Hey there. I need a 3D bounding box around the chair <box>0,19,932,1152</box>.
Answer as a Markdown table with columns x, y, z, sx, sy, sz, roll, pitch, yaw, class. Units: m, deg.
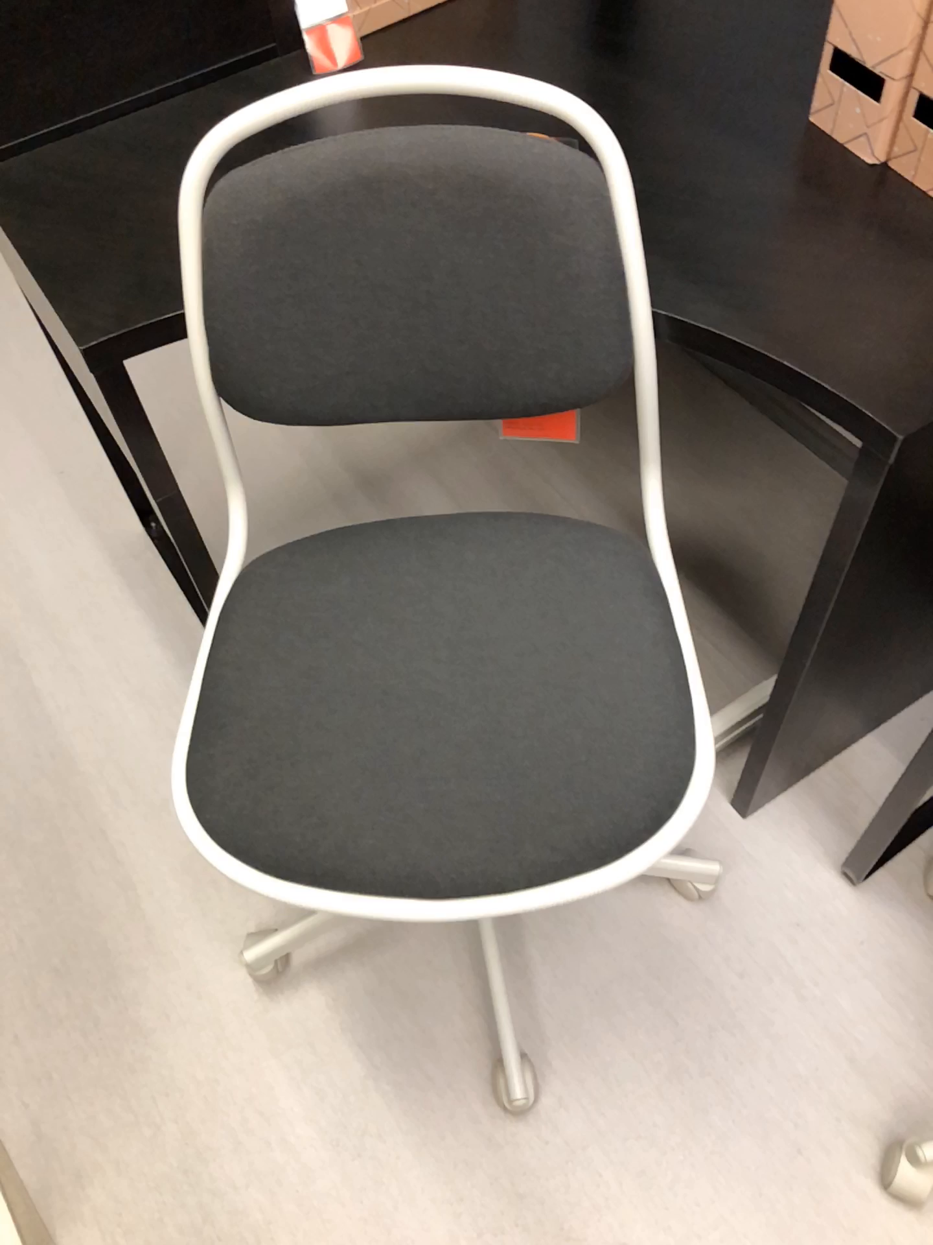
| x | y | z | sx | sy | sz | roll | pitch | yaw | class |
| --- | --- | --- | --- | --- | --- | --- | --- | --- | --- |
| -0.027 | 0.075 | 0.989 | 0.660 | 0.905 | 0.623 | -5 | 56 | 1 | chair |
